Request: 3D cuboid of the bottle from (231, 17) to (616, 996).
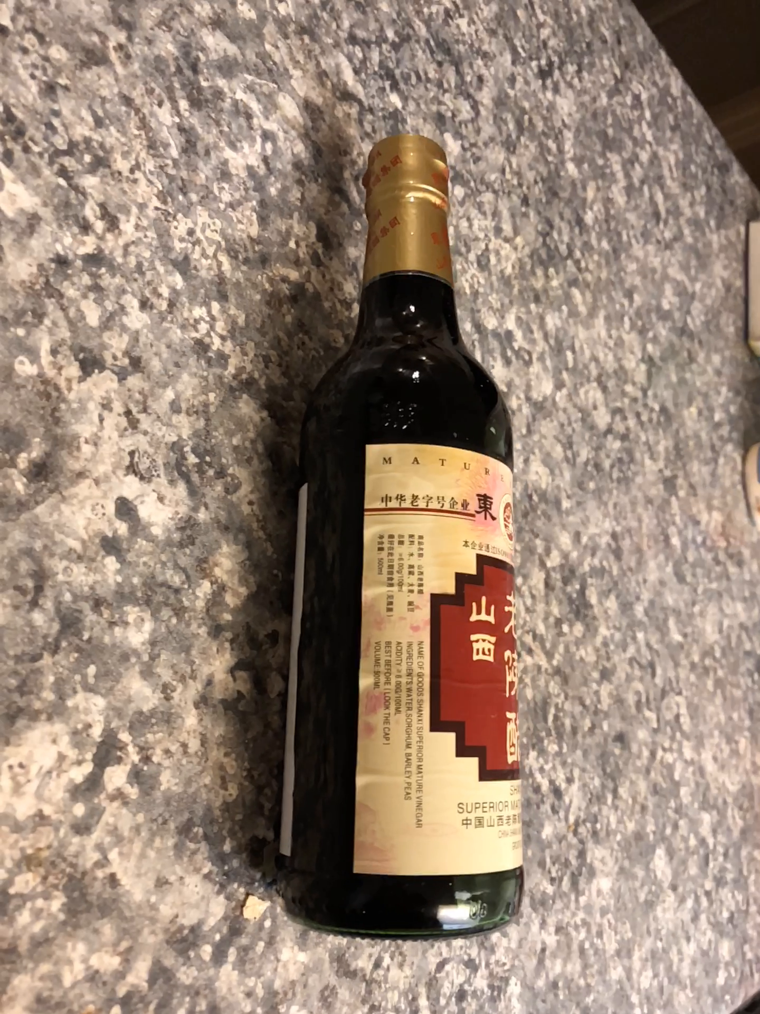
[{"bbox_3d":[0.016,-0.007,0.245,0.070,0.070,0.240,23,63,-52],"label":"bottle"}]
